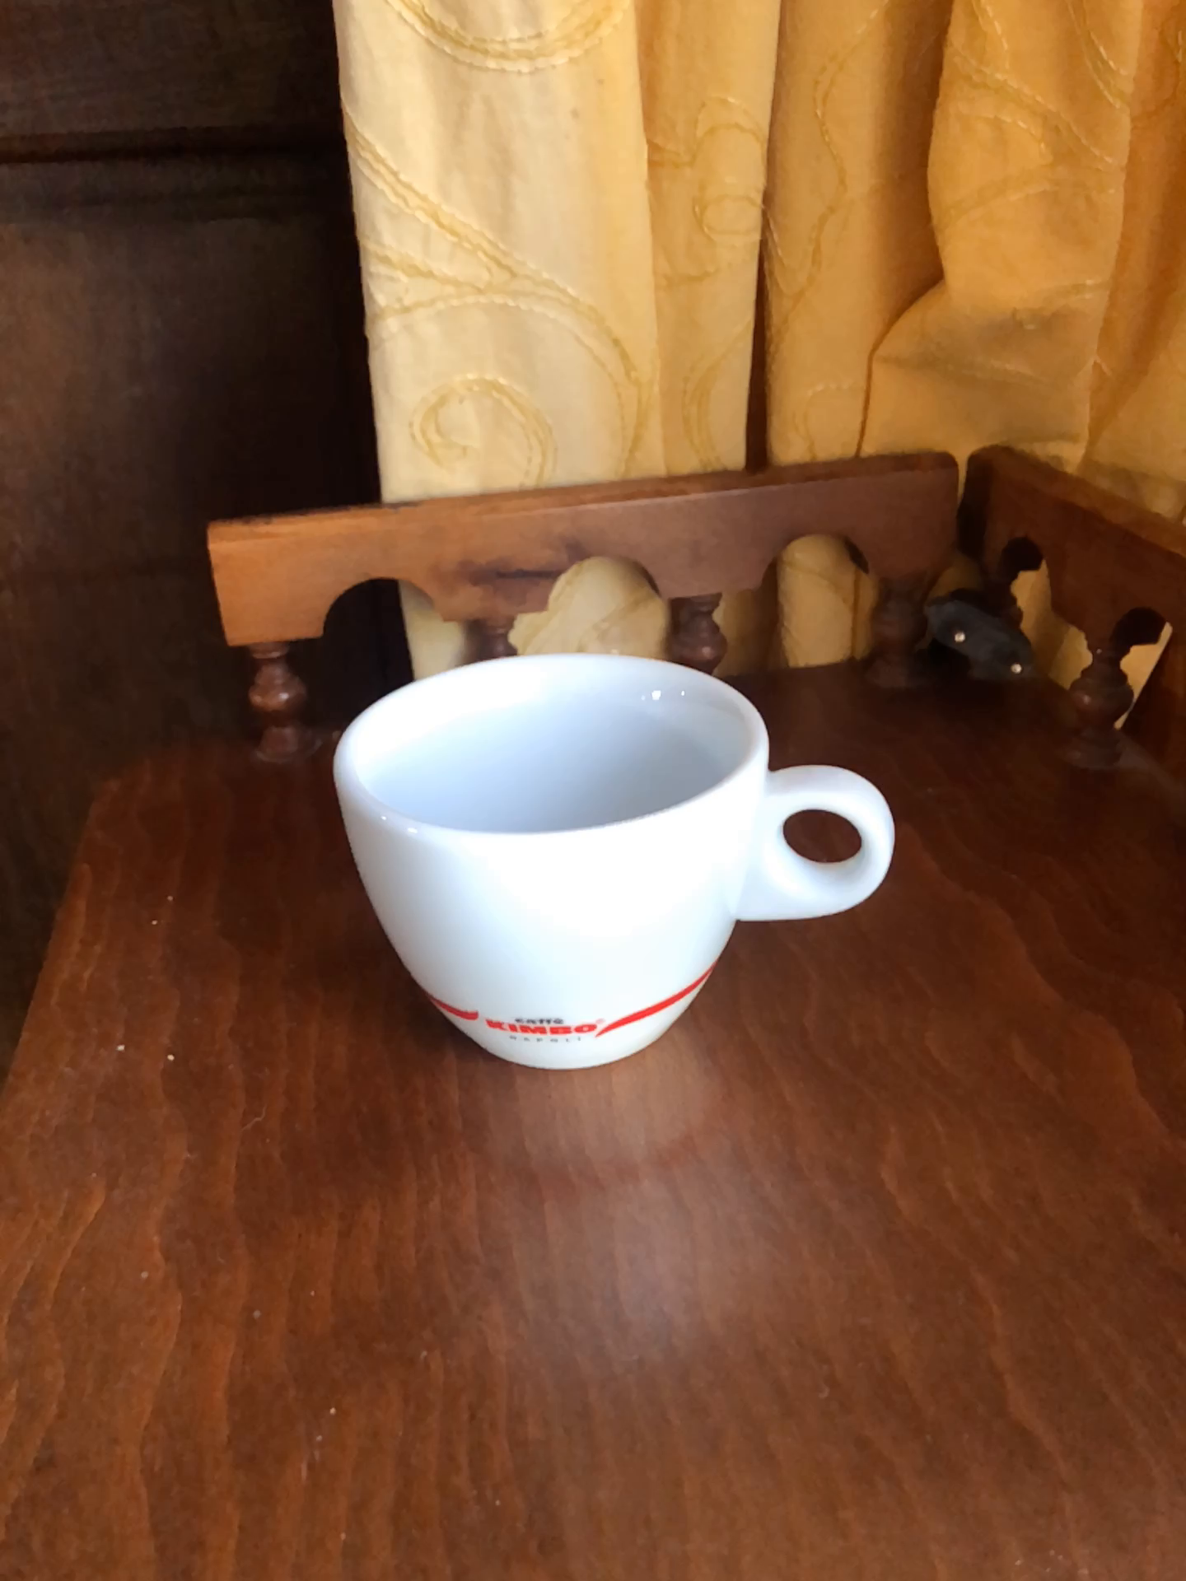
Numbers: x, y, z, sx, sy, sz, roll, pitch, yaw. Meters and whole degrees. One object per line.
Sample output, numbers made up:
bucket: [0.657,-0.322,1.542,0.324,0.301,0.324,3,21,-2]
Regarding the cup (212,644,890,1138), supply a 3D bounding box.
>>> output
cup: [0.000,0.012,0.265,0.110,0.050,0.091,4,28,14]
